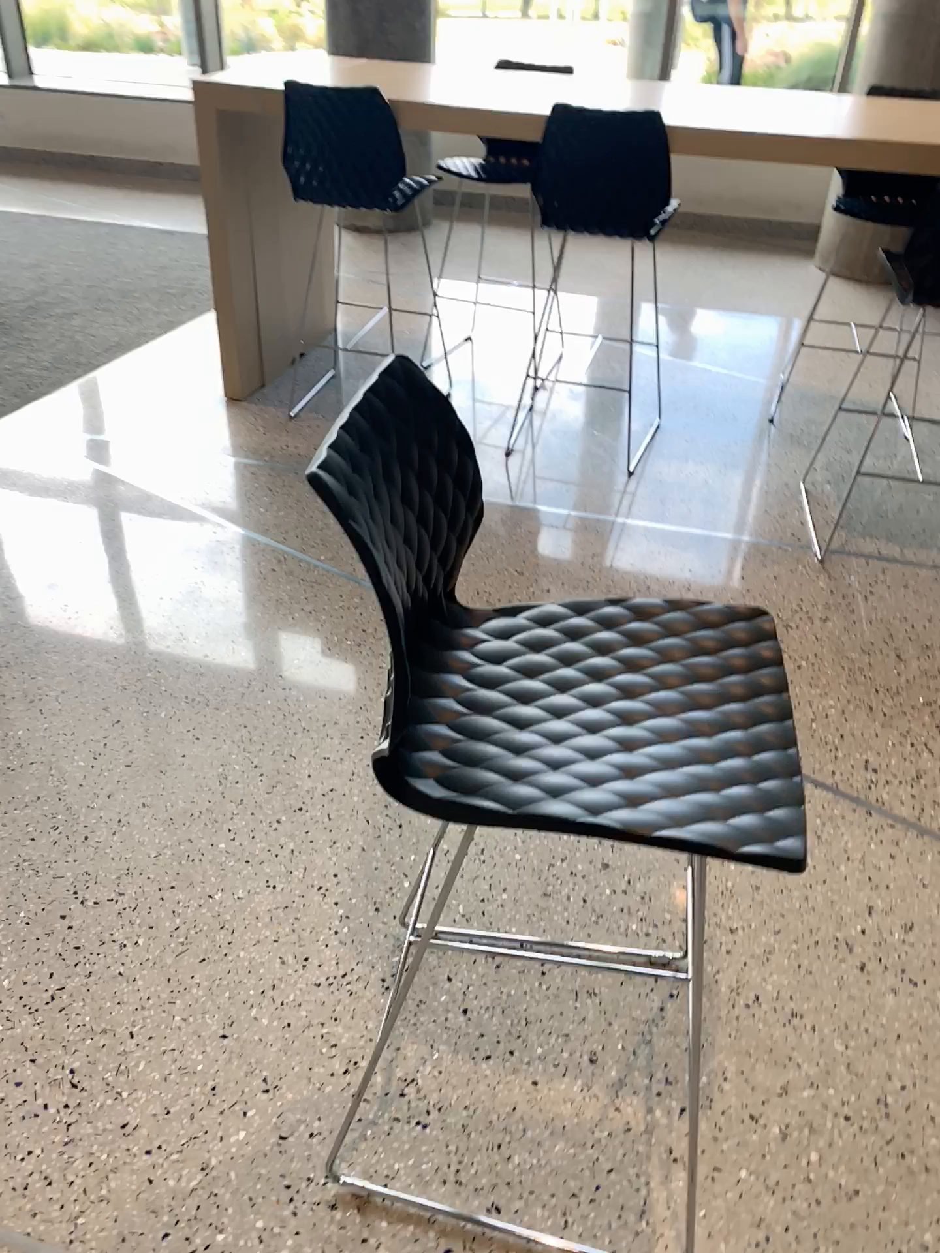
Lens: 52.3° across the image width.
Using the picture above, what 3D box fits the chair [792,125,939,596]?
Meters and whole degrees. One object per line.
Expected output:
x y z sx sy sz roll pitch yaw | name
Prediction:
1.264 -0.712 2.587 0.531 1.048 0.551 11 35 11 | chair

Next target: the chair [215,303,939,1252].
0.114 0.237 1.176 0.546 1.048 0.536 8 35 8 | chair

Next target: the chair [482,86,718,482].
0.402 -1.106 3.101 0.531 1.048 0.551 13 36 15 | chair

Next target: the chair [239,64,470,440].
-0.360 -1.278 3.276 0.531 1.048 0.551 13 36 15 | chair
